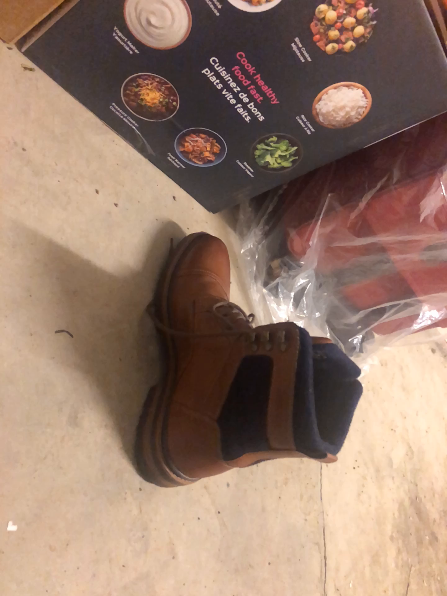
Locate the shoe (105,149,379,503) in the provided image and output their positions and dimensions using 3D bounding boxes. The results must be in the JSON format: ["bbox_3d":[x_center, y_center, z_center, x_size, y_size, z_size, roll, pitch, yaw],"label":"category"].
[{"bbox_3d":[0.025,0.037,0.507,0.132,0.201,0.303,37,47,-43],"label":"shoe"}]
